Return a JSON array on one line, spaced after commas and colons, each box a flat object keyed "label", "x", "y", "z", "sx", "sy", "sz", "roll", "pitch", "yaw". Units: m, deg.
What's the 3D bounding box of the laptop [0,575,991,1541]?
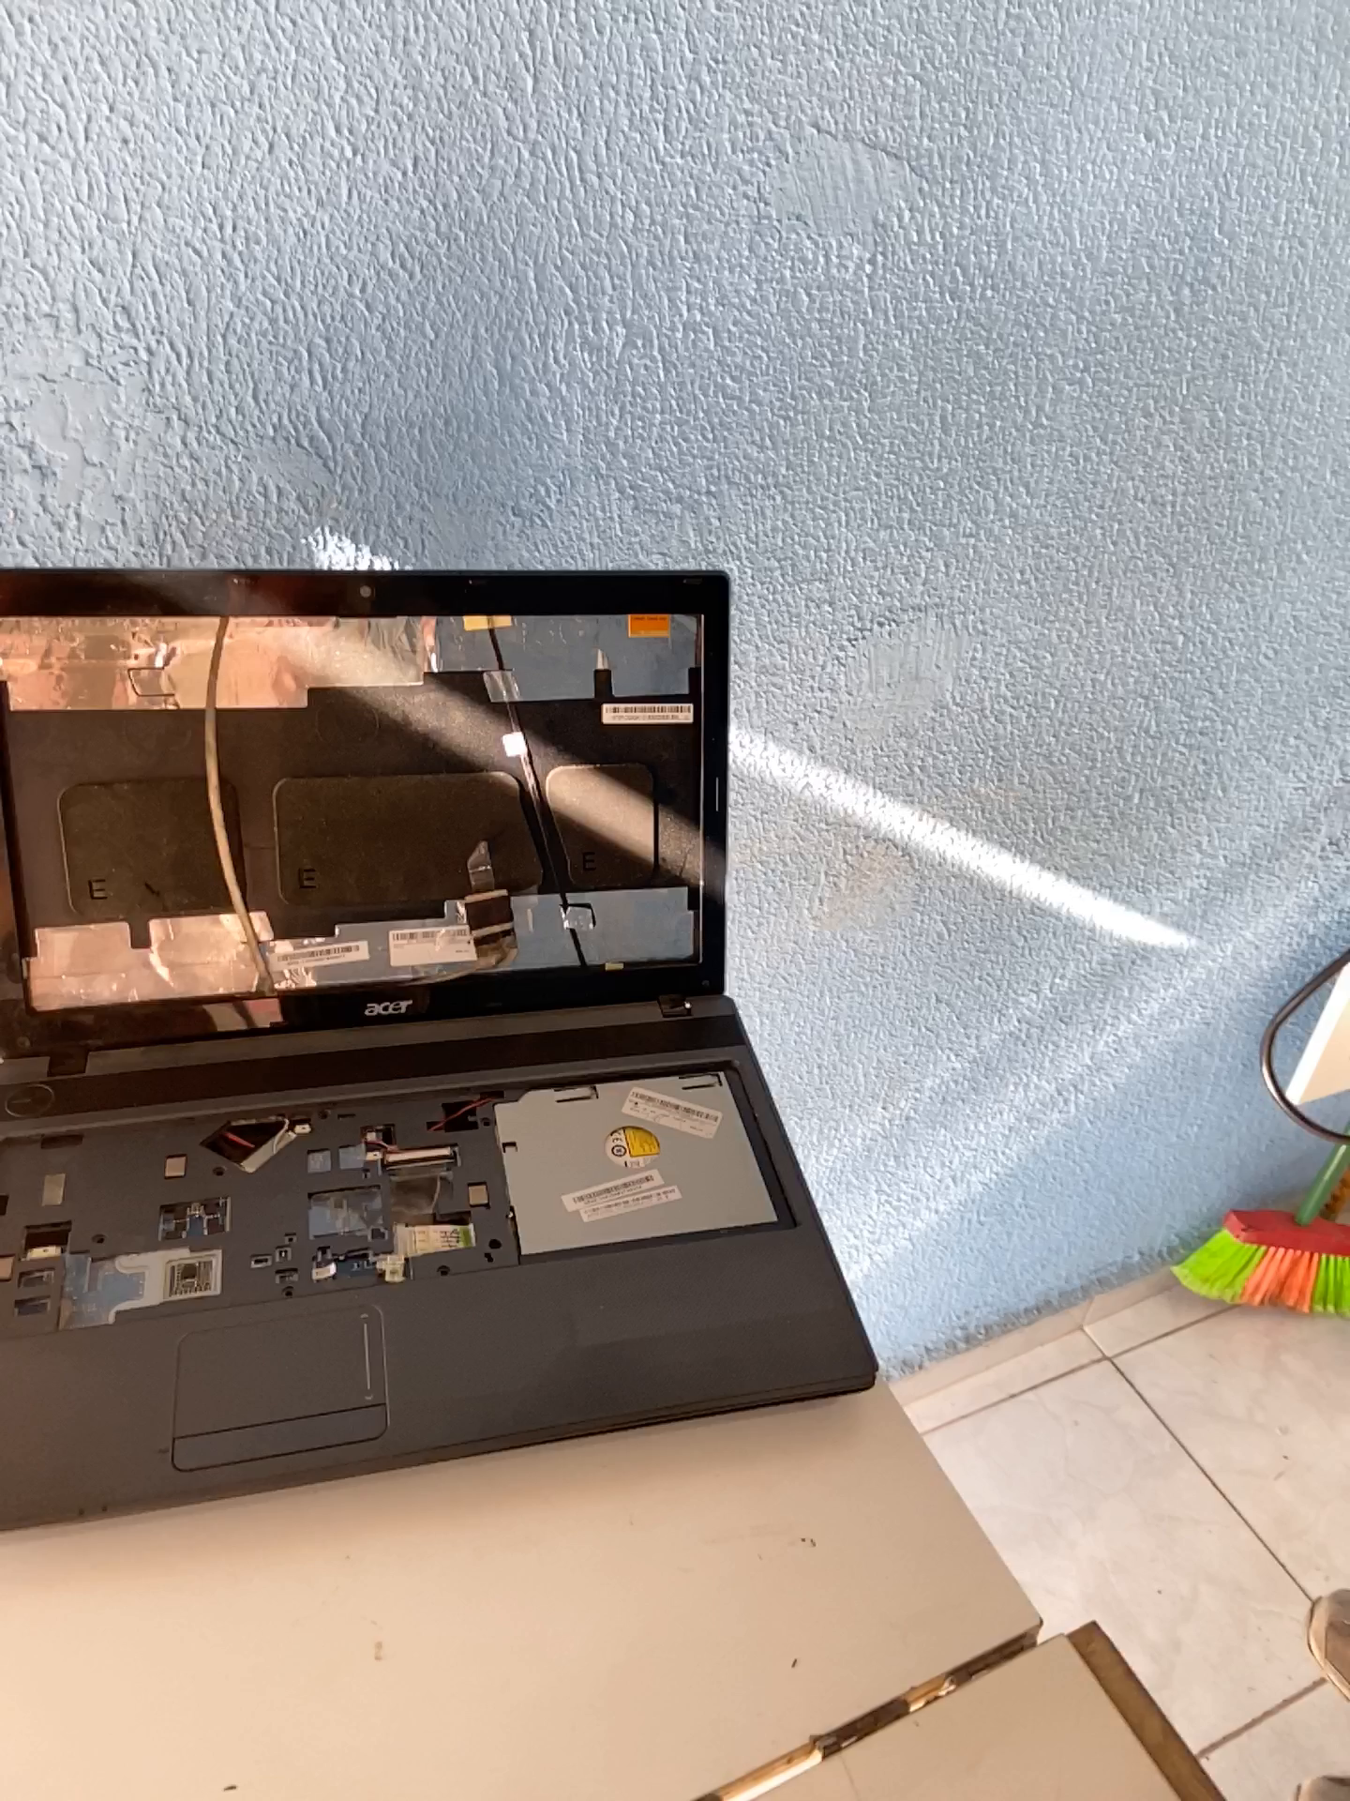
[{"label": "laptop", "x": -0.125, "y": 0.028, "z": 0.617, "sx": 0.378, "sy": 0.210, "sz": 0.351, "roll": -4, "pitch": 36, "yaw": -13}]
